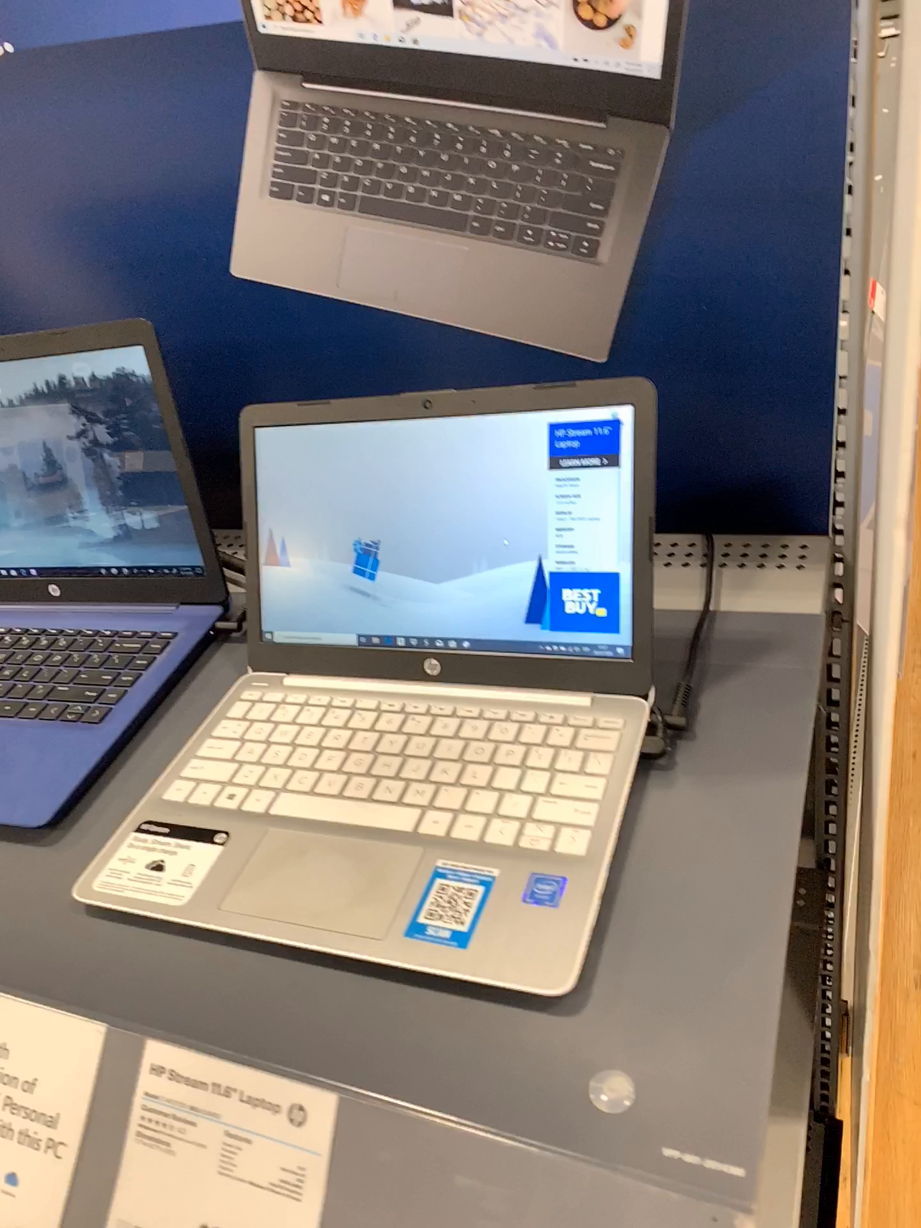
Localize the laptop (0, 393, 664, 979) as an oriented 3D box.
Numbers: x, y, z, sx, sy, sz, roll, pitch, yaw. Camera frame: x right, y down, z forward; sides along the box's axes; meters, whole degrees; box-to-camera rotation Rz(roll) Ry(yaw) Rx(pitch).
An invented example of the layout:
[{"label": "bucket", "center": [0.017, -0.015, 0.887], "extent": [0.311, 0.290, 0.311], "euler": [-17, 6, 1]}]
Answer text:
[{"label": "laptop", "center": [-0.051, 0.011, 0.514], "extent": [0.267, 0.144, 0.275], "euler": [2, 37, 21]}]
